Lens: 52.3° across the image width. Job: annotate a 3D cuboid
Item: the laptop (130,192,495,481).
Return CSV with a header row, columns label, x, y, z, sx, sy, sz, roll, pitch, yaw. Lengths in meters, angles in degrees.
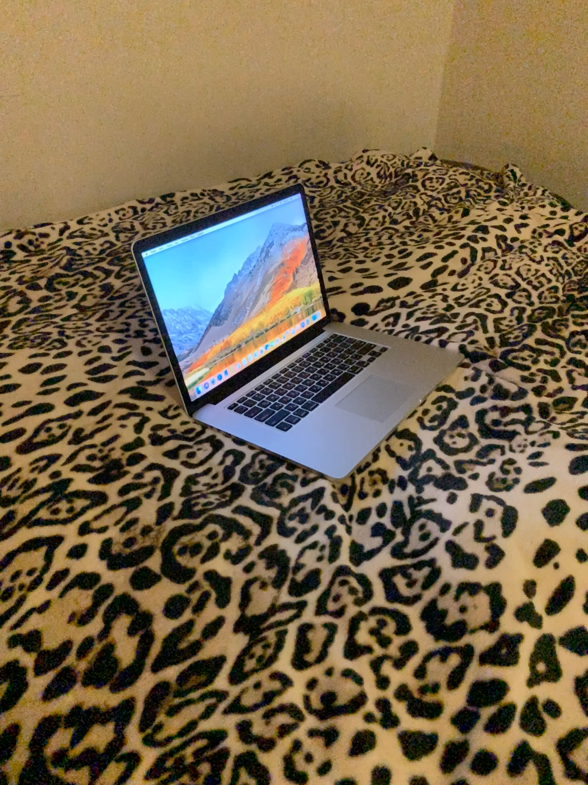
label,x,y,z,sx,sy,sz,roll,pitch,yaw
laptop,0.034,-0.107,0.806,0.299,0.222,0.350,21,39,31
